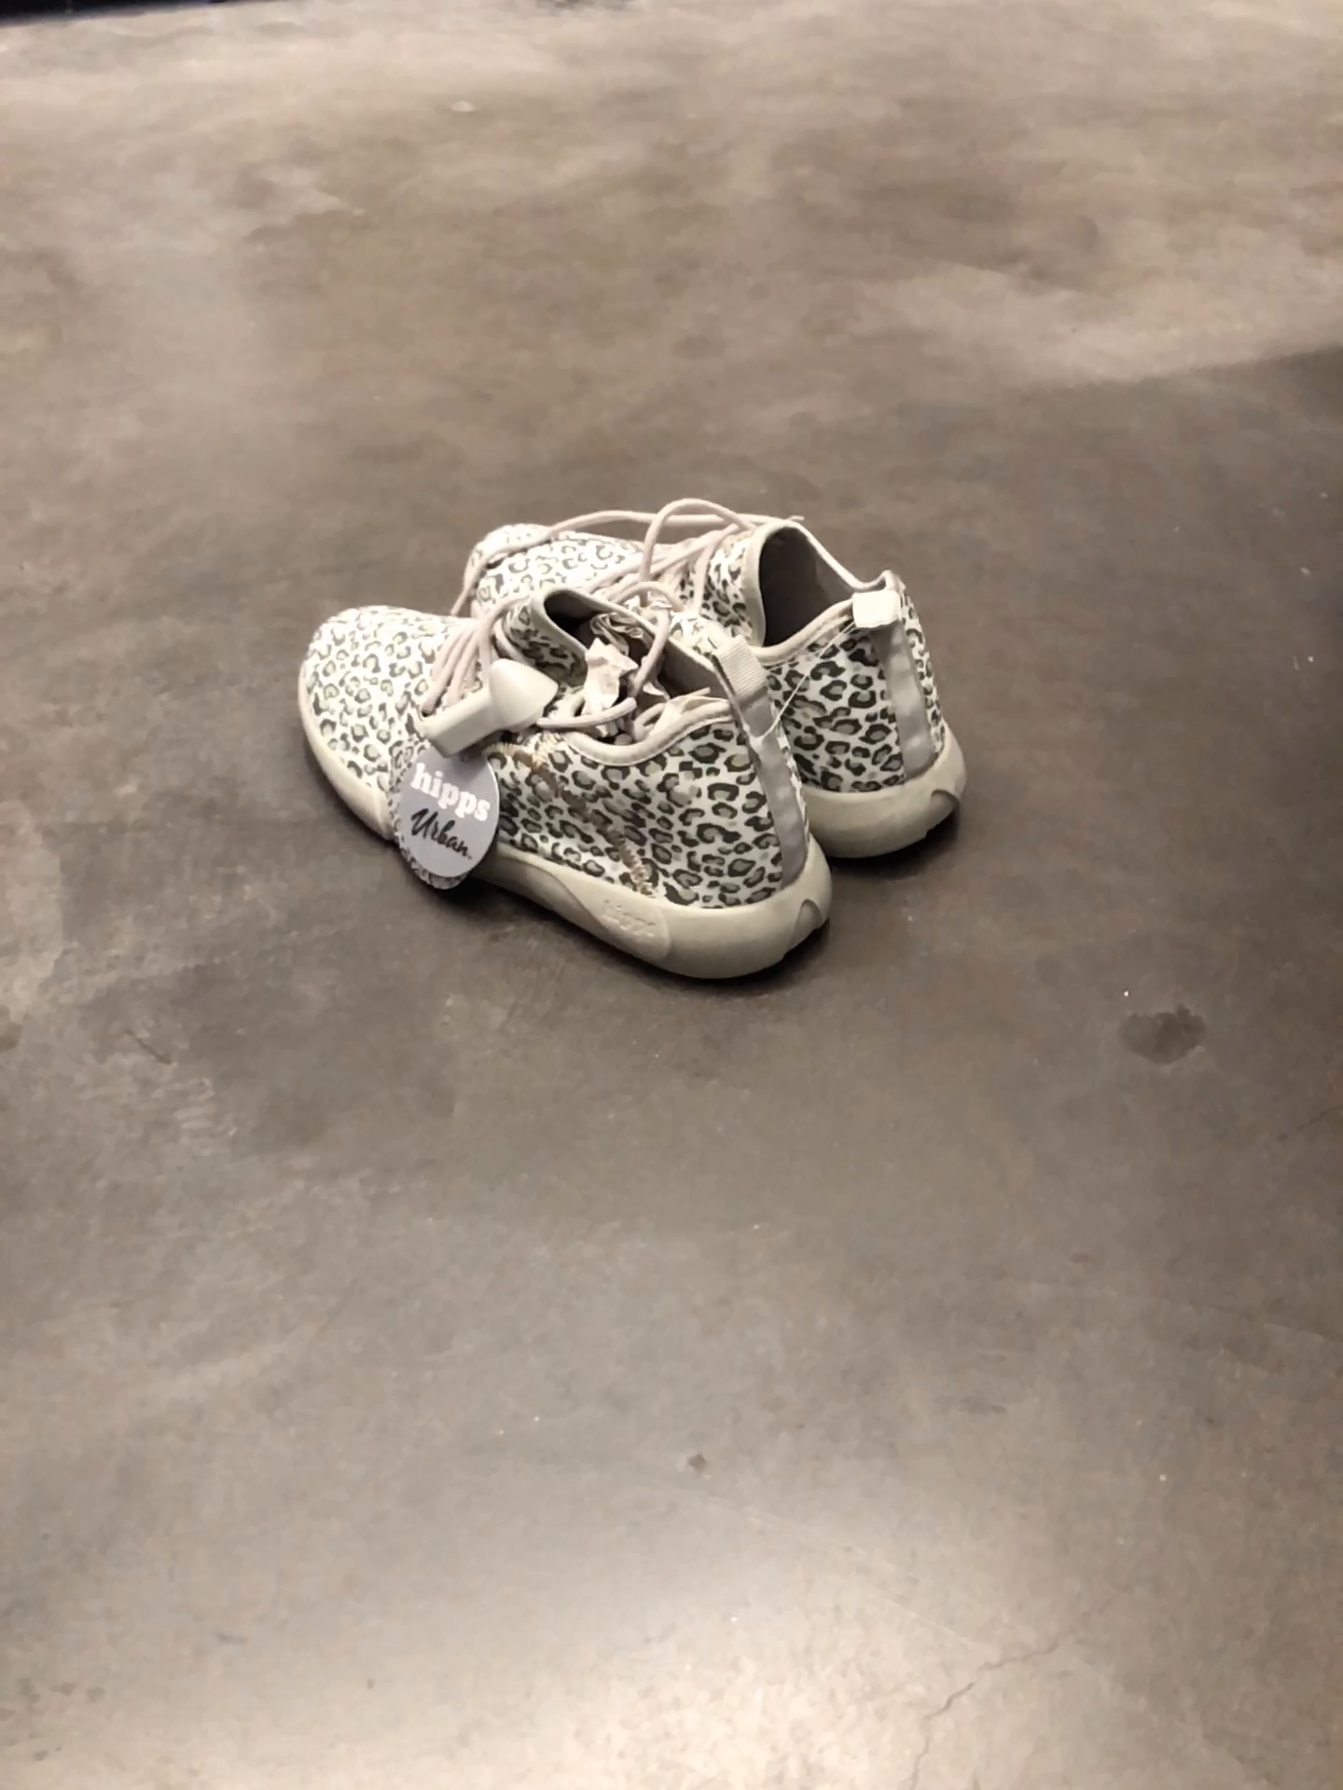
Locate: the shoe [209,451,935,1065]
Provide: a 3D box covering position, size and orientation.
[{"bbox_3d":[-0.041,-0.062,0.536,0.250,0.099,0.101,30,51,31],"label":"shoe"}]

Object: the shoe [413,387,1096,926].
[{"bbox_3d":[0.024,-0.106,0.588,0.250,0.099,0.101,30,51,31],"label":"shoe"}]
